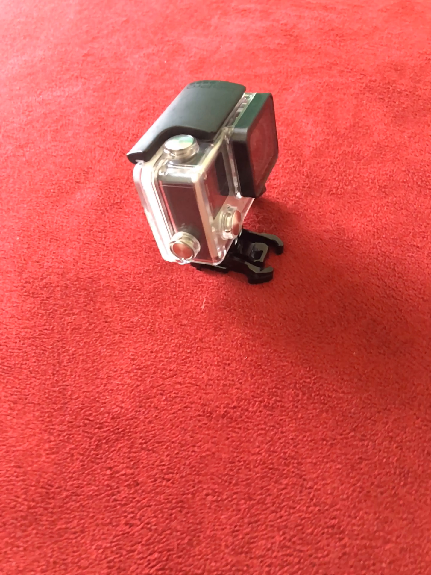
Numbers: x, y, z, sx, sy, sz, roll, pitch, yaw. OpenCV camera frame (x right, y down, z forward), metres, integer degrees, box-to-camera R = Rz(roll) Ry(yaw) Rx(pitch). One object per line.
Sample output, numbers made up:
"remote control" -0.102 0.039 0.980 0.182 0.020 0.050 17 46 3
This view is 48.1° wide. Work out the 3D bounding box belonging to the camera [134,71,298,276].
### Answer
"camera" 0.005 -0.052 0.211 0.040 0.050 0.073 11 55 22
